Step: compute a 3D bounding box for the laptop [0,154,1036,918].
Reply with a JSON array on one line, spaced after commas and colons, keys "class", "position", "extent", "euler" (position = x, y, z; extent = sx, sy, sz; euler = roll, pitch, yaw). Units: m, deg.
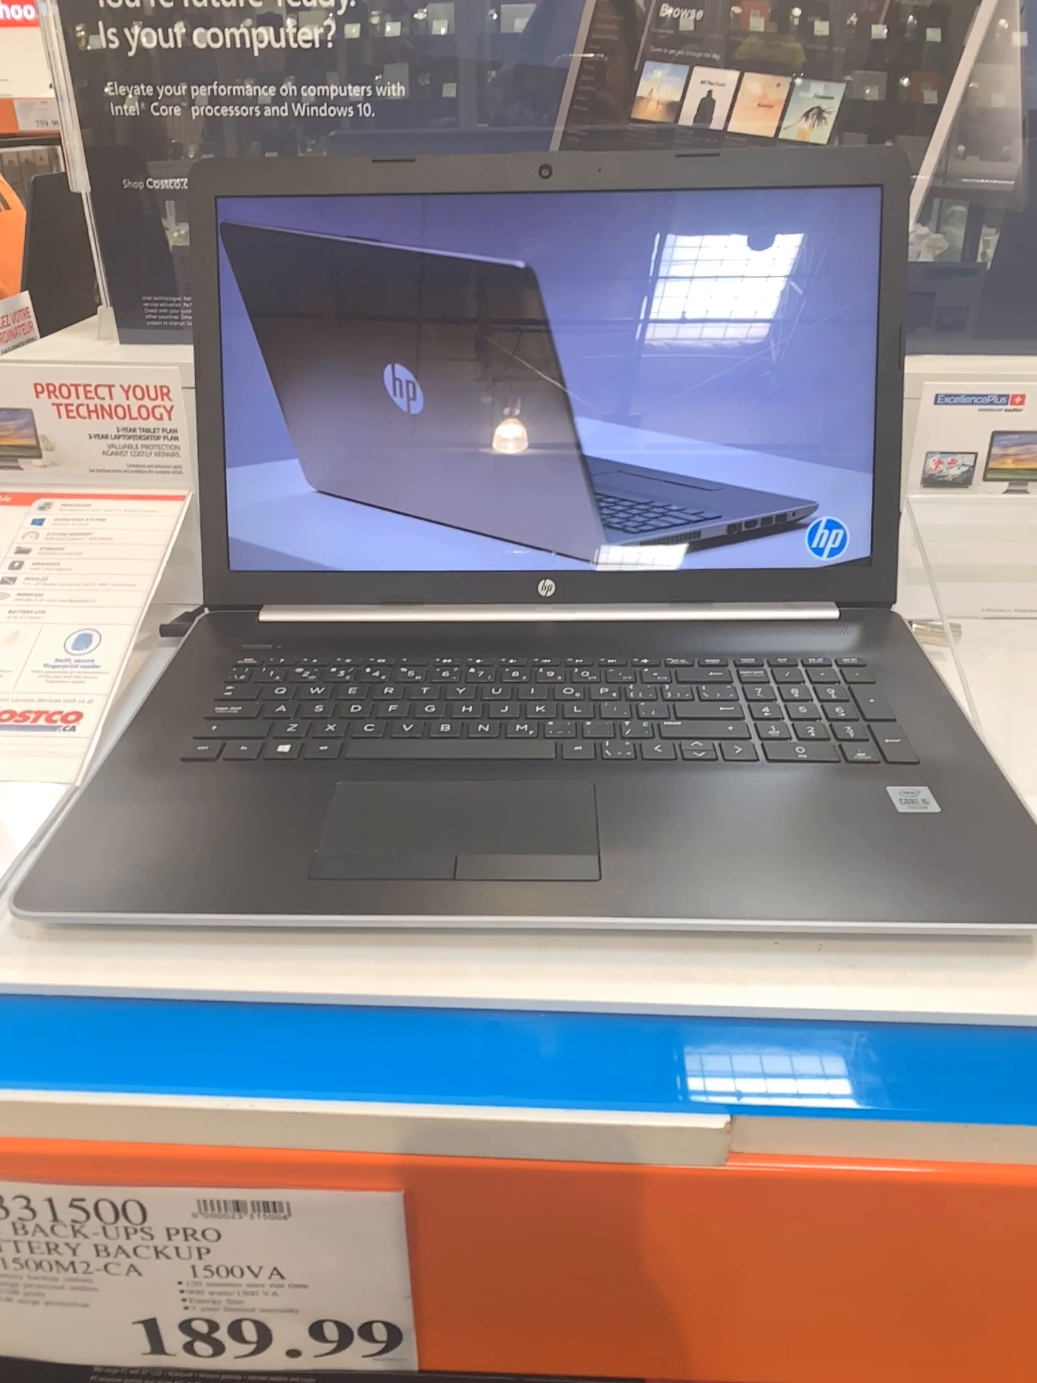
[{"class": "laptop", "position": [0.017, -0.110, 0.492], "extent": [0.394, 0.234, 0.372], "euler": [0, 28, 2]}]
